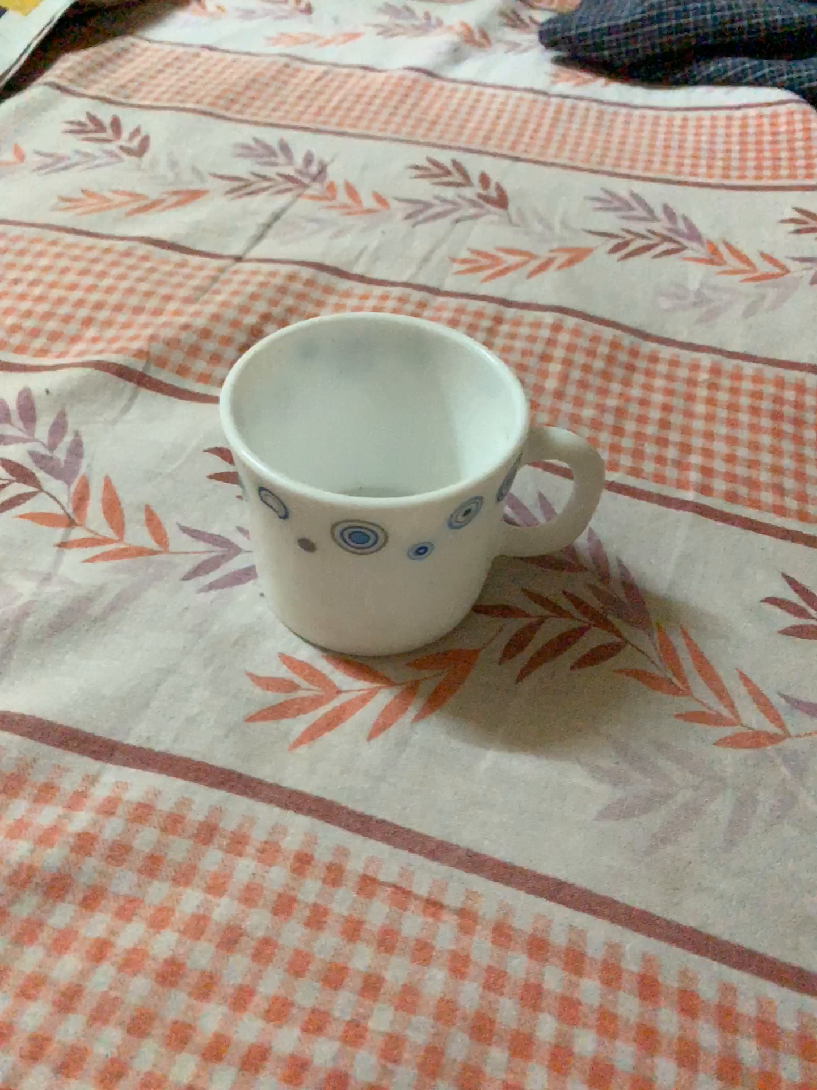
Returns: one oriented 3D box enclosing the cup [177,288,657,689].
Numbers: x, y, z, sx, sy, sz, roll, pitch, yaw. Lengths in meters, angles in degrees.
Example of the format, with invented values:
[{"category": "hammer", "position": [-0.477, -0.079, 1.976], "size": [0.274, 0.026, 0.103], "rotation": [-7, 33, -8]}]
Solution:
[{"category": "cup", "position": [0.002, -0.015, 0.226], "size": [0.100, 0.070, 0.070], "rotation": [4, 48, 1]}]
